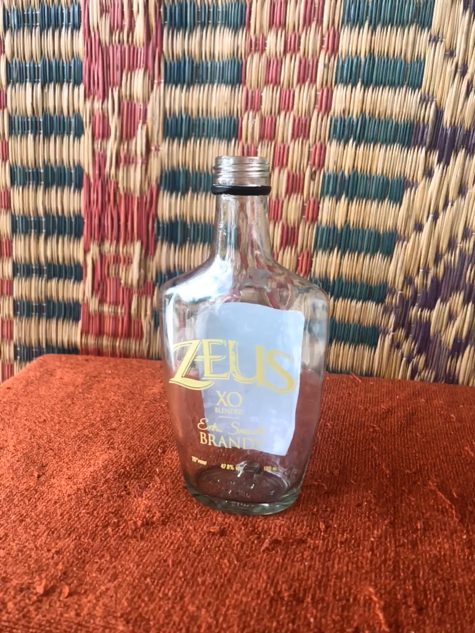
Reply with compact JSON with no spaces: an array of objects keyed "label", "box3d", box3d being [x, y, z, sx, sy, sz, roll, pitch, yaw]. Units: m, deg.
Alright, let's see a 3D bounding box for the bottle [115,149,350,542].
[{"label":"bottle","box3d":[-0.002,0.010,0.221,0.080,0.149,0.040,7,18,15]}]
